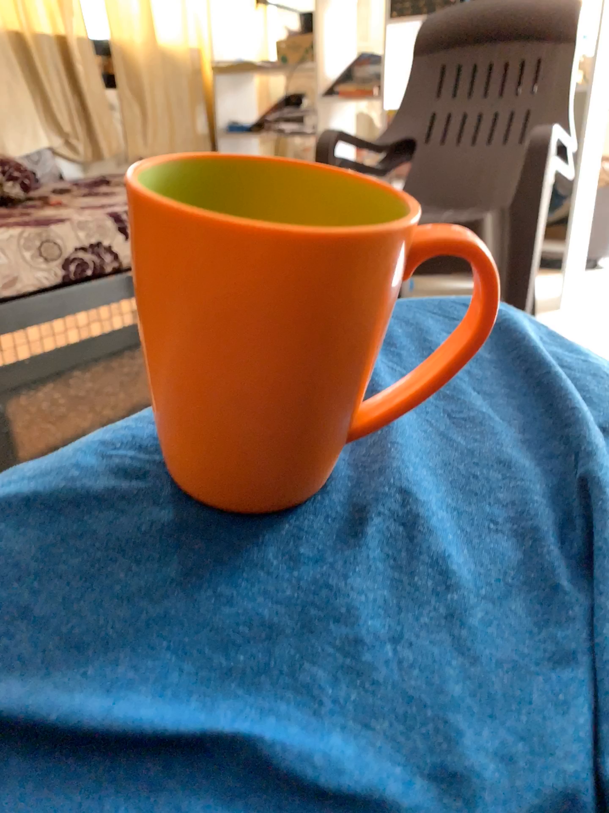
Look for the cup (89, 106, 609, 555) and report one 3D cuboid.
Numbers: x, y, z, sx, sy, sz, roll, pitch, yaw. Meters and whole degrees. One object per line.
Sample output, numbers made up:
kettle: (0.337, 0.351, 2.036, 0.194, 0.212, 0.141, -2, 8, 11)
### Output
cup: (0.003, -0.025, 0.198, 0.120, 0.089, 0.101, 5, 35, -13)
